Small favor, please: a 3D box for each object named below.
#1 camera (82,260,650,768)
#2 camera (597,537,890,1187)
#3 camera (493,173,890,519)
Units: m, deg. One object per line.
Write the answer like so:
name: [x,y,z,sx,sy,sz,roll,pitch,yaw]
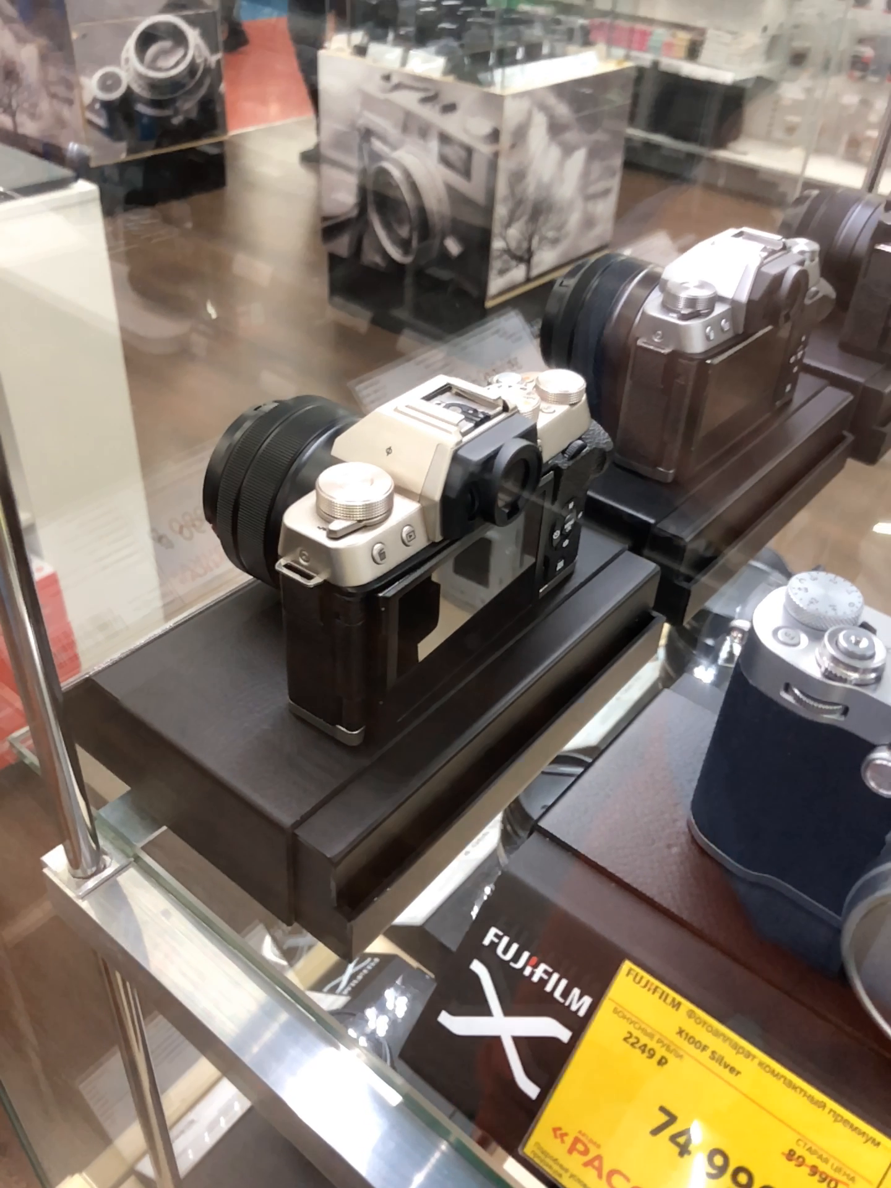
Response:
camera: [-0.019,-0.036,0.307,0.100,0.080,0.132,27,43,27]
camera: [0.108,0.057,0.214,0.132,0.076,0.055,31,45,30]
camera: [0.107,-0.117,0.434,0.102,0.086,0.141,29,44,28]
